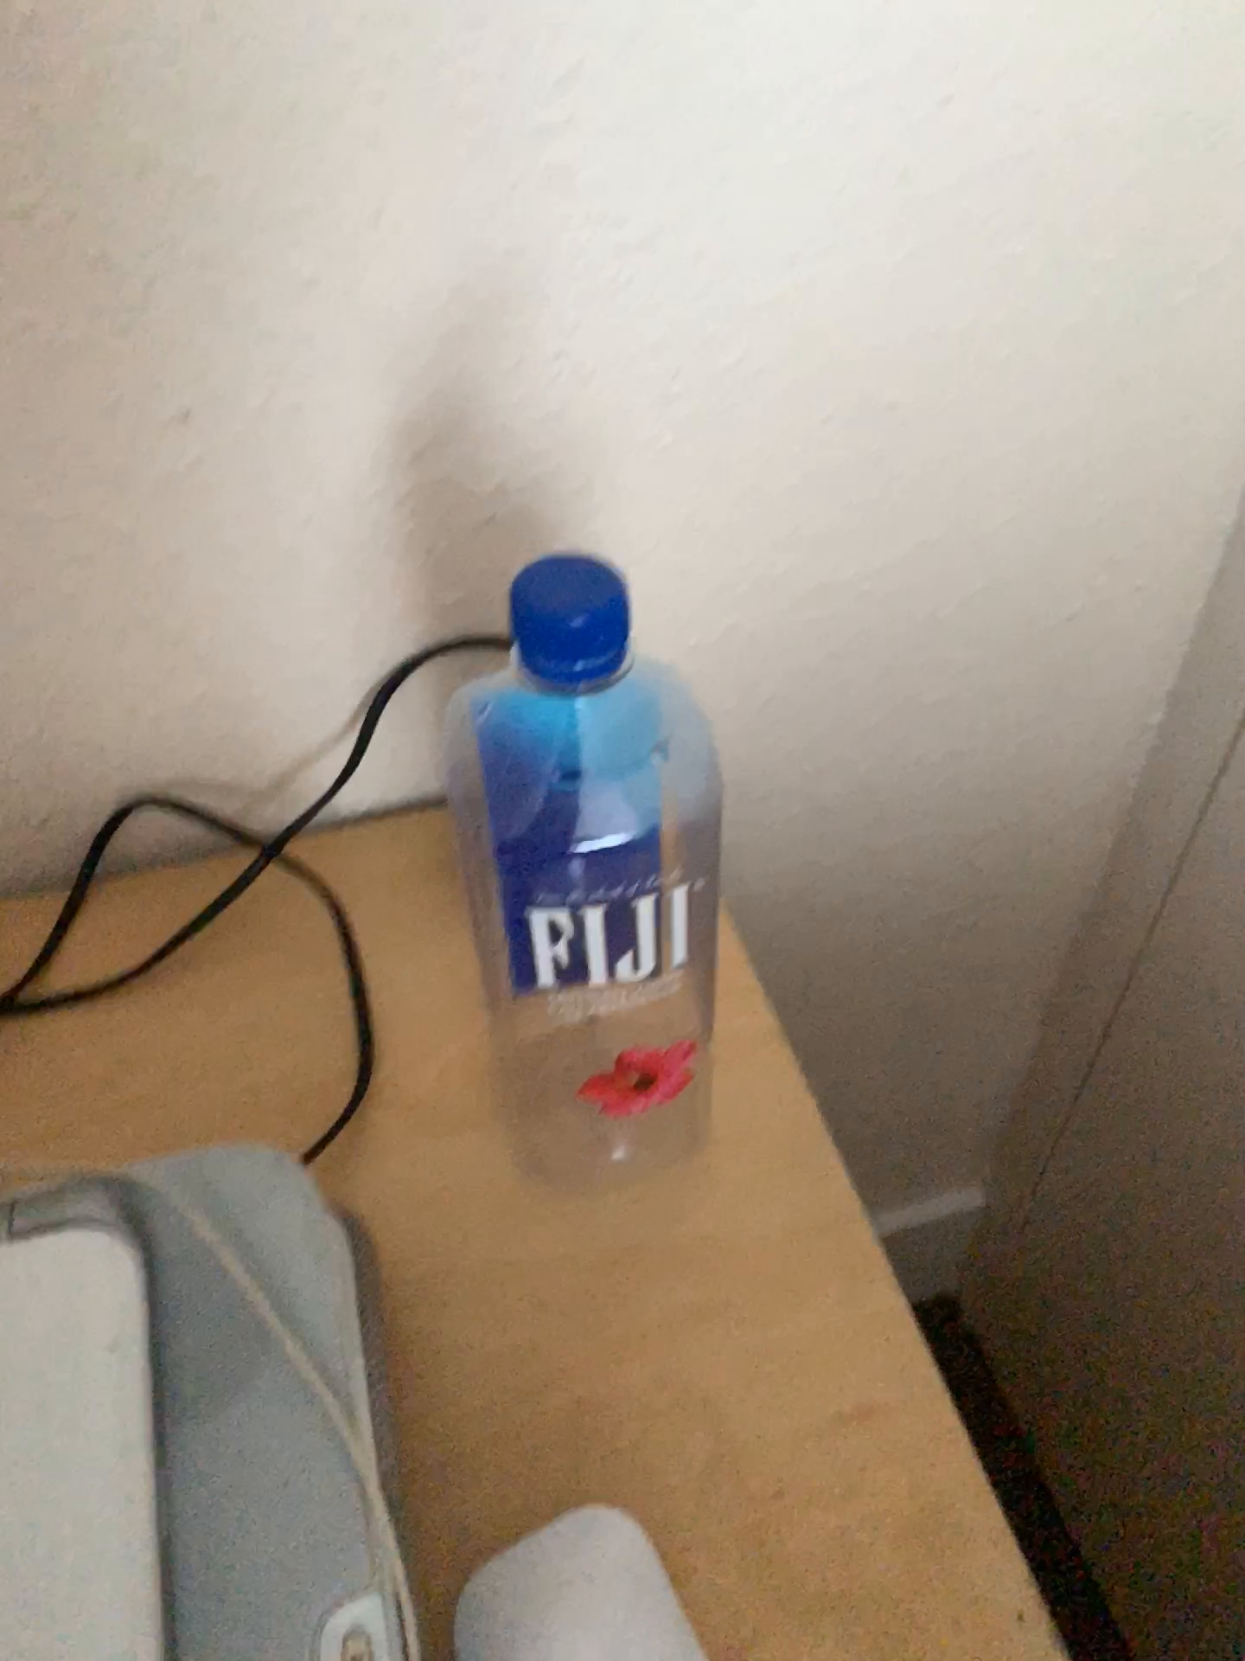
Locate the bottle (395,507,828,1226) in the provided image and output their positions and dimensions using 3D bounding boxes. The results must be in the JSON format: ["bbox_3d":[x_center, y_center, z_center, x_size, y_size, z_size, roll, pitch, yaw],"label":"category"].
[{"bbox_3d":[-0.006,0.021,0.387,0.090,0.208,0.081,-10,45,-11],"label":"bottle"}]
